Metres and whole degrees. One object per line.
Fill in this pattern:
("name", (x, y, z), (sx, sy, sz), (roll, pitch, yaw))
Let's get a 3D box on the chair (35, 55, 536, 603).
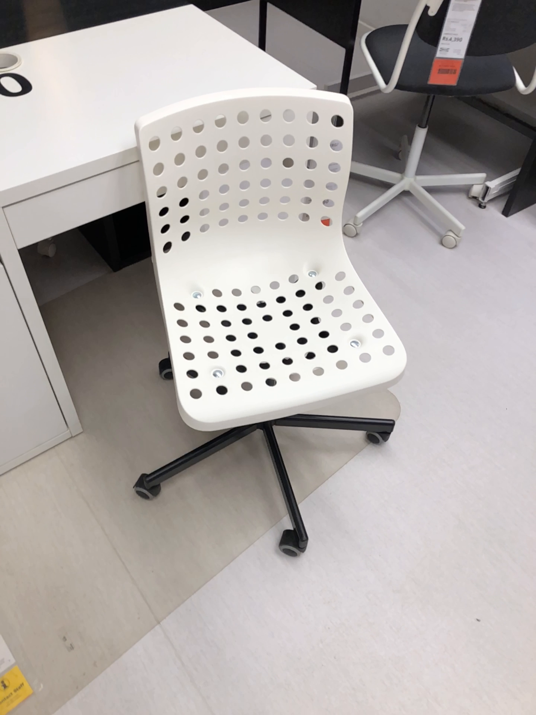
("chair", (-0.005, -0.054, 1.175), (0.670, 0.746, 0.654), (-12, 51, -14))
